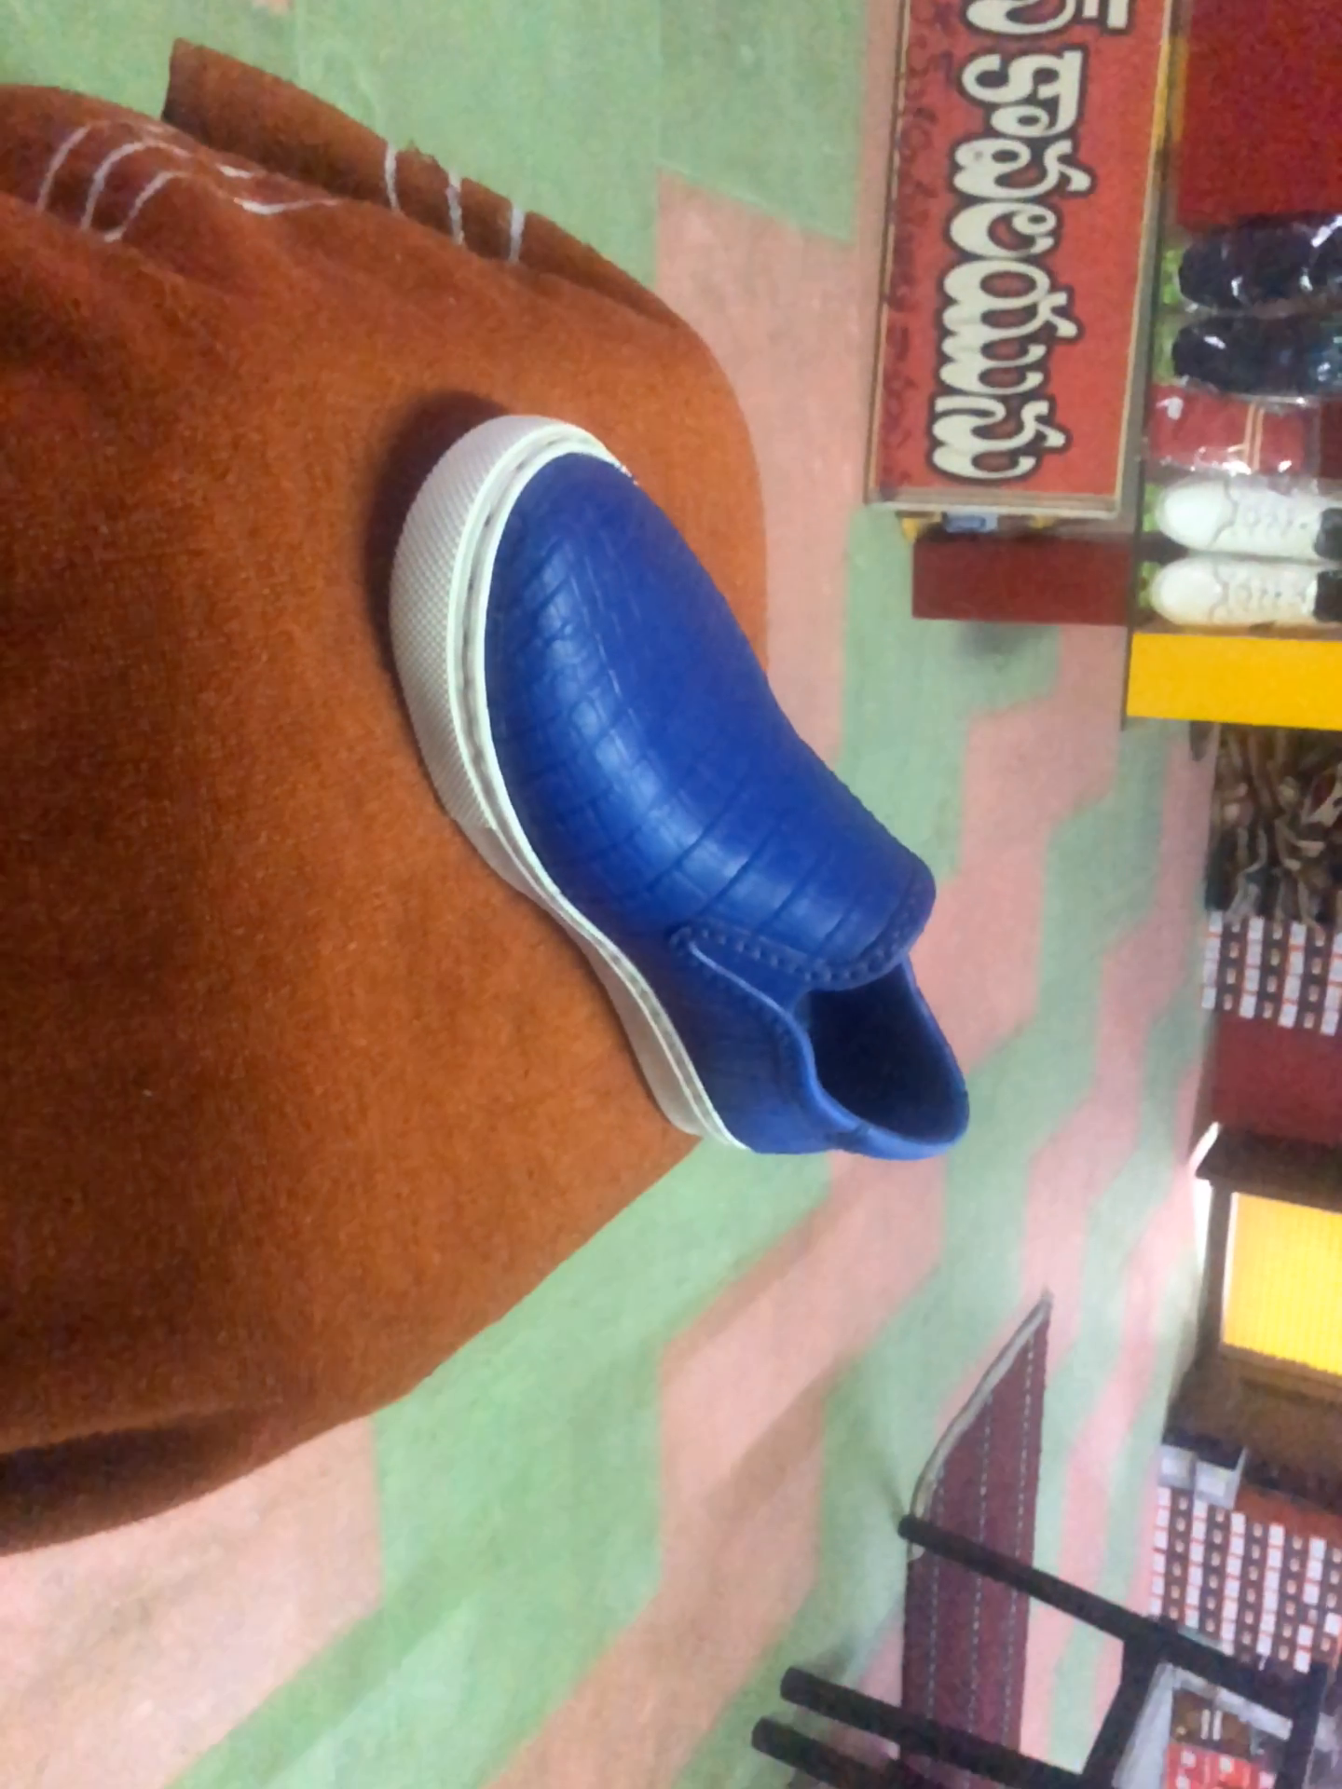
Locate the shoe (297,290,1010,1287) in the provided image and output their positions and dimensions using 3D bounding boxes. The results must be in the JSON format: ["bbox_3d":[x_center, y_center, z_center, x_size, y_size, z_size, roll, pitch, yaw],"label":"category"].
[{"bbox_3d":[0.023,-0.008,0.442,0.110,0.079,0.302,-63,145,-30],"label":"shoe"}]
